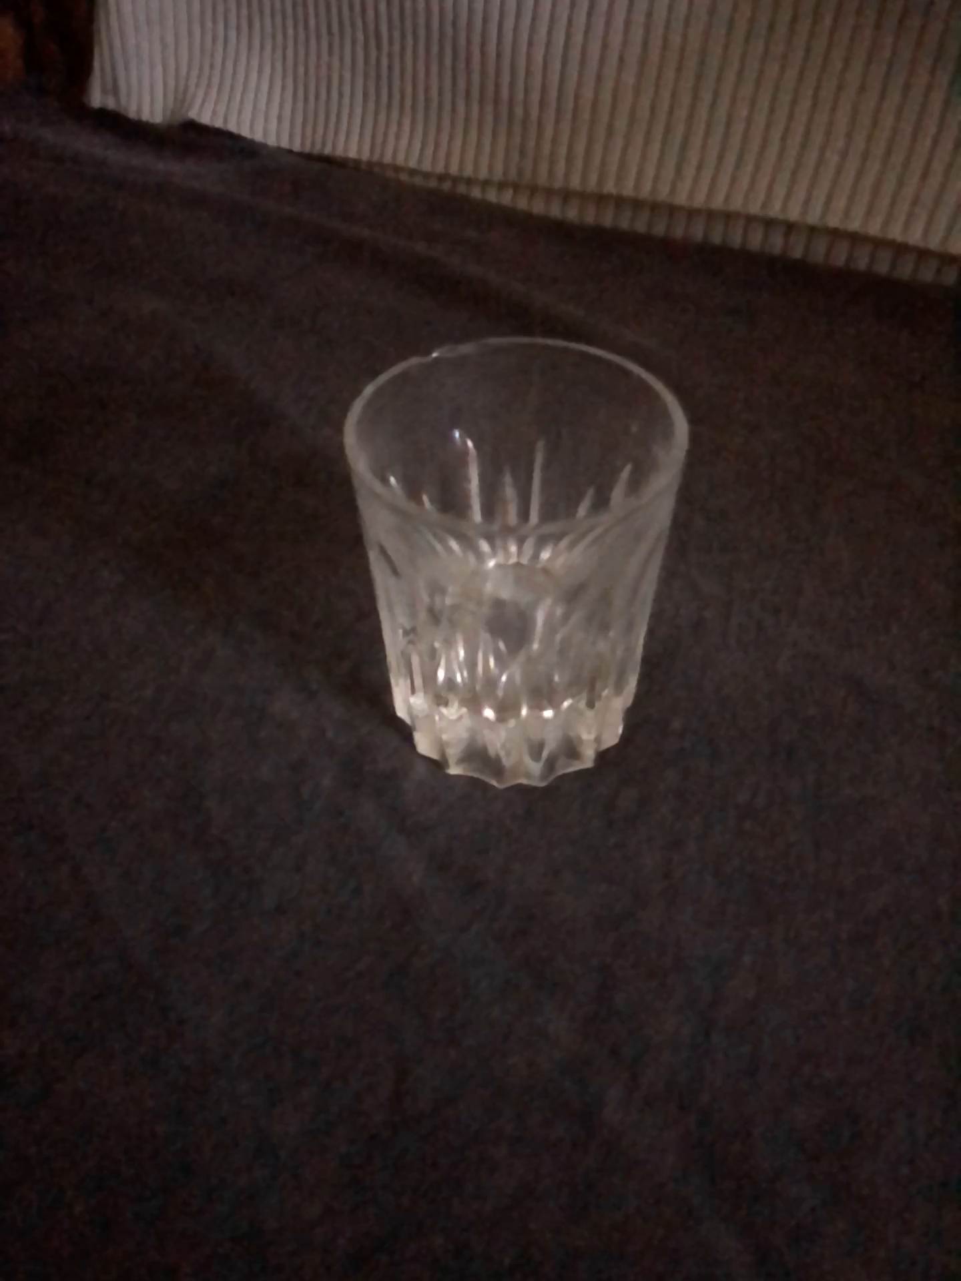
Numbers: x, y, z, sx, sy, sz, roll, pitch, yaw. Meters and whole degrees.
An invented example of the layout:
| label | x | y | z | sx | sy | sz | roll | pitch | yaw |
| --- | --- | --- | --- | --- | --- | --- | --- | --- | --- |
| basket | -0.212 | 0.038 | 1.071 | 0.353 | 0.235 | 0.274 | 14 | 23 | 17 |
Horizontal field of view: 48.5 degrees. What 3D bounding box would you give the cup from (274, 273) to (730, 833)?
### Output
| label | x | y | z | sx | sy | sz | roll | pitch | yaw |
| --- | --- | --- | --- | --- | --- | --- | --- | --- | --- |
| cup | 0.004 | -0.017 | 0.205 | 0.059 | 0.078 | 0.048 | 27 | 50 | 24 |
